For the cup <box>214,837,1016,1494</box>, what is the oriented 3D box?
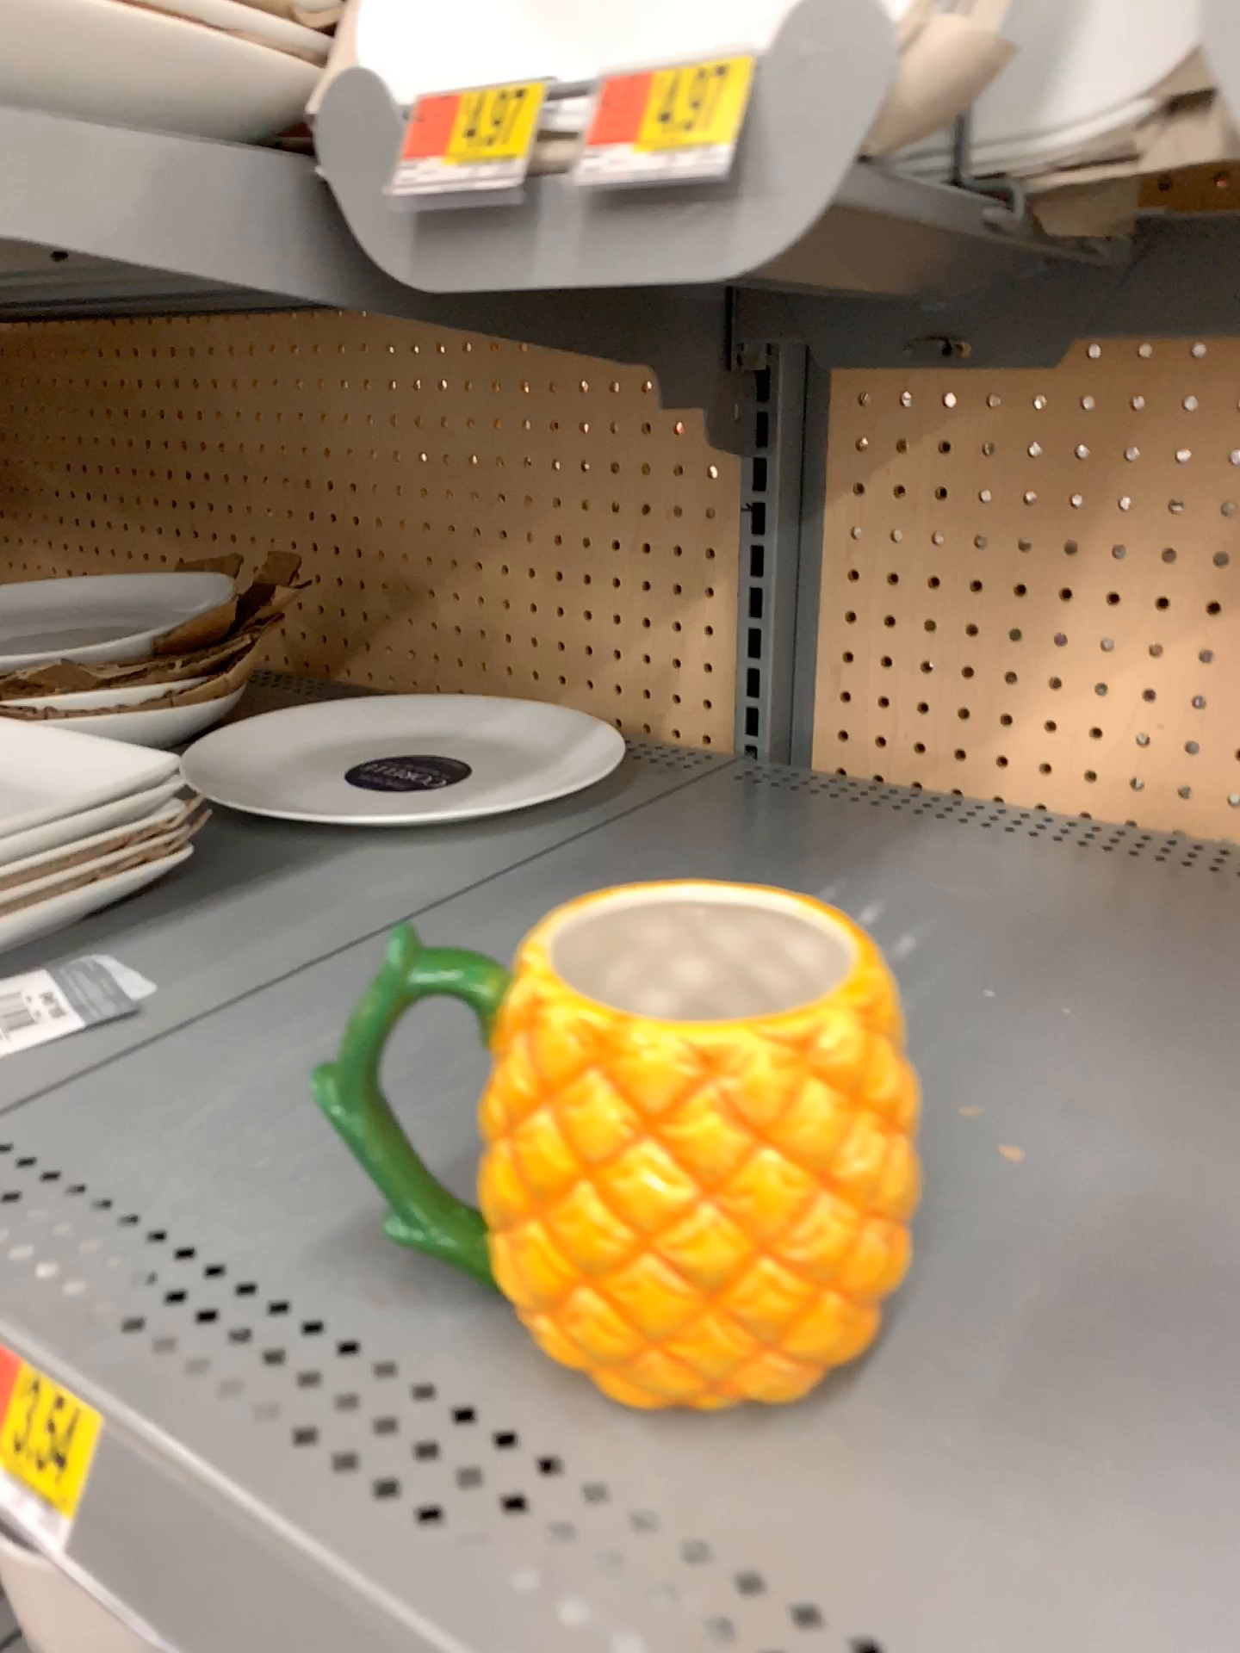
[{"bbox_3d":[0.004,0.072,0.310,0.160,0.100,0.100,4,20,10],"label":"cup"}]
